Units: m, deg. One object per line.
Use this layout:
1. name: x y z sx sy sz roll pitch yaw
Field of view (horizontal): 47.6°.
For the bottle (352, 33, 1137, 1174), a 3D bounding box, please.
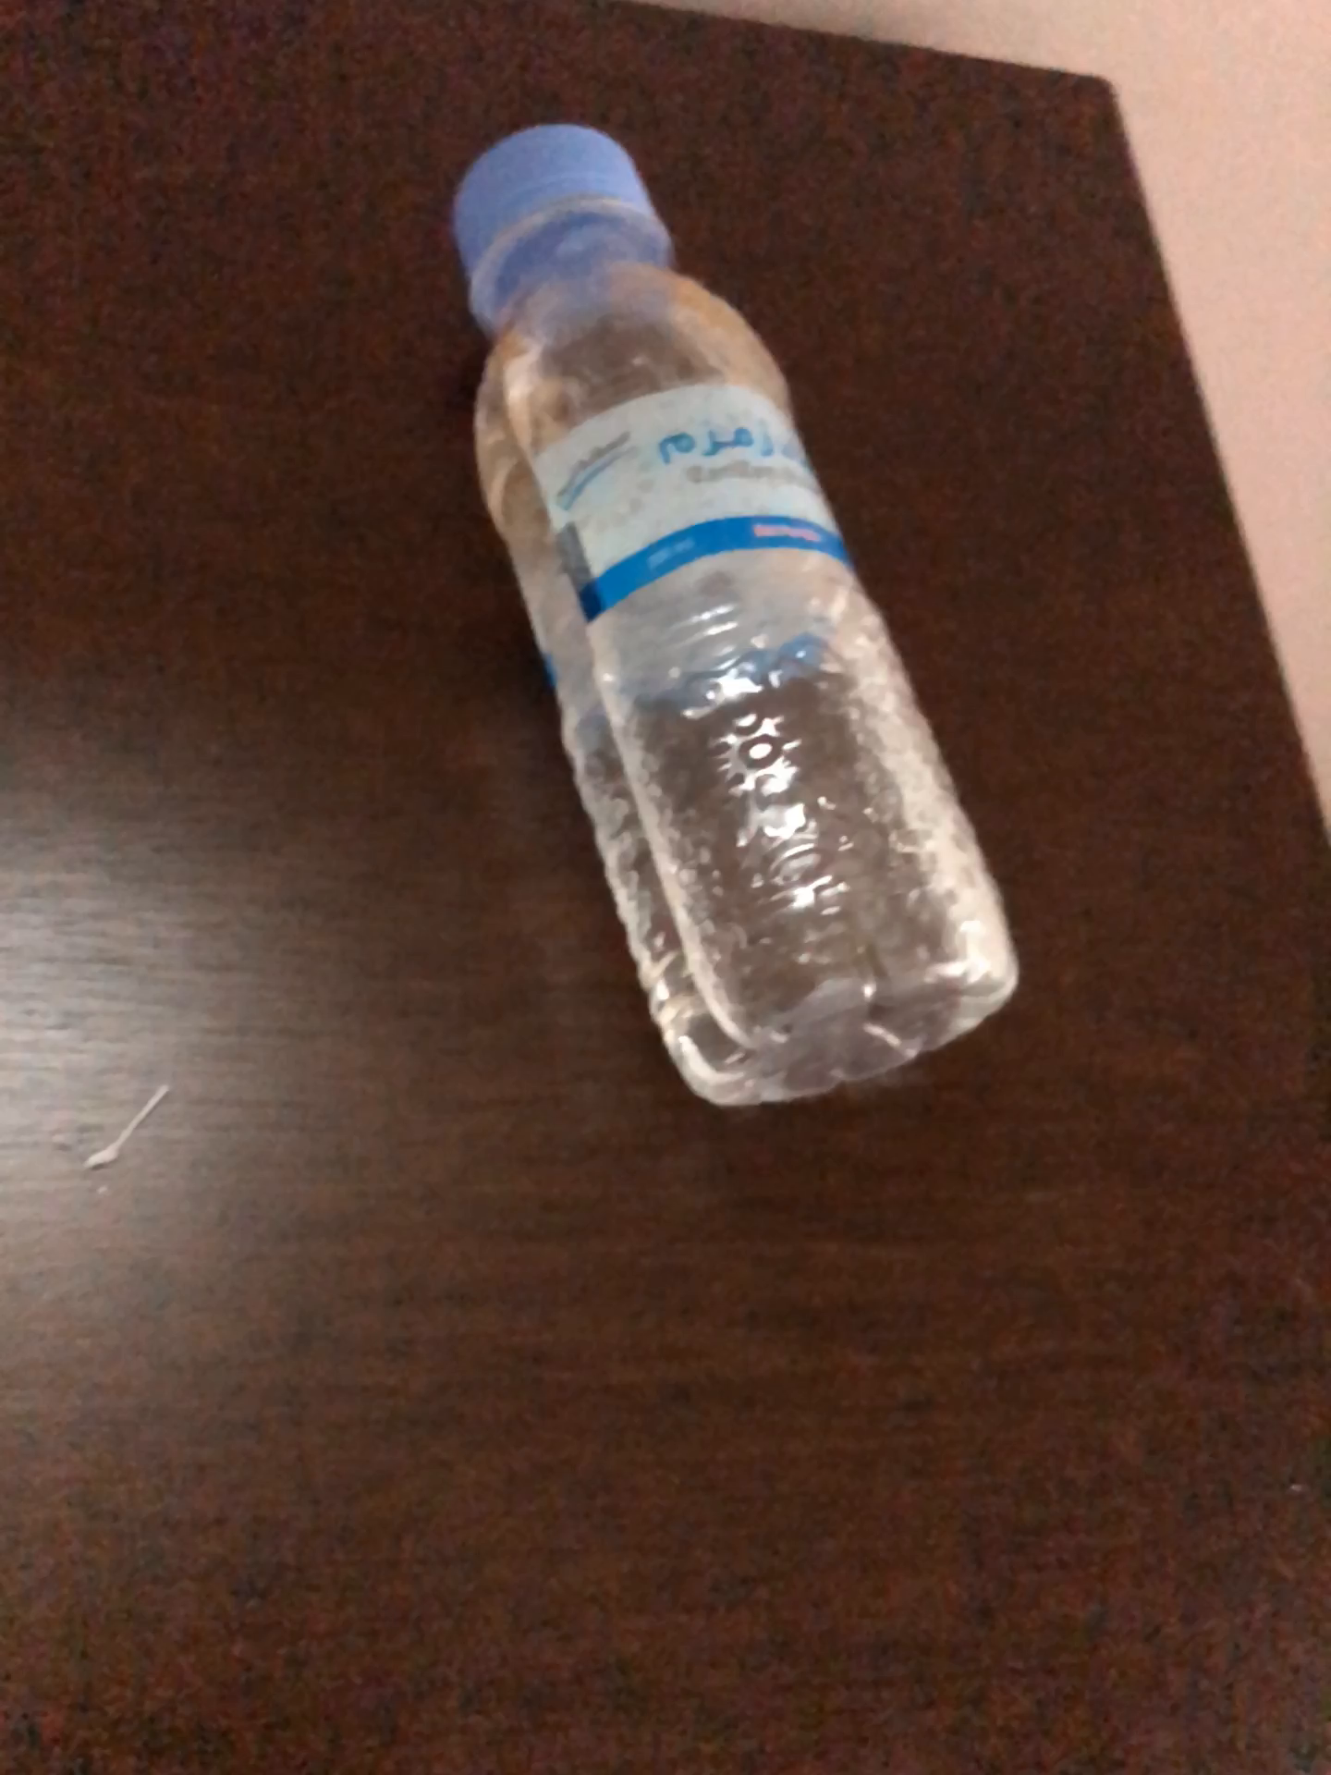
1. bottle: 0.002 -0.046 0.224 0.050 0.050 0.160 -9 67 -28
